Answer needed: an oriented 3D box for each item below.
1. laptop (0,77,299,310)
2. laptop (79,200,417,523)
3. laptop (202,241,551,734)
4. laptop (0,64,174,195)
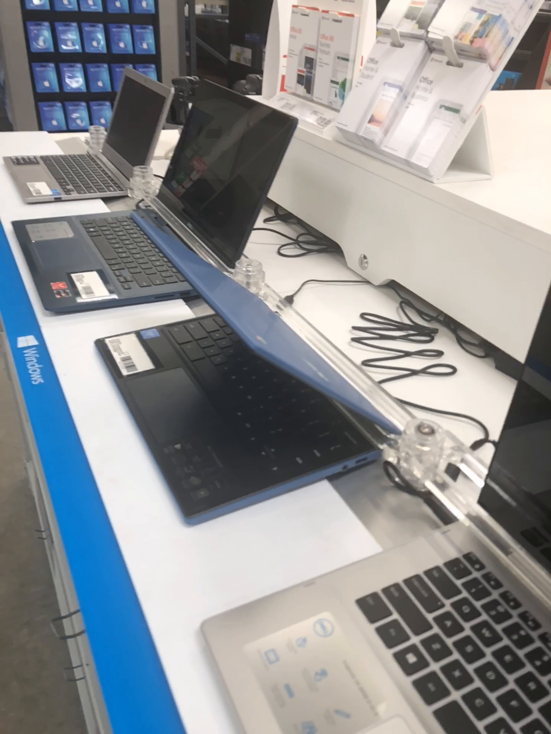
[{"bbox_3d":[-0.190,-0.266,0.833,0.319,0.196,0.326,-13,36,-24],"label":"laptop"},{"bbox_3d":[-0.046,-0.033,0.547,0.186,0.128,0.281,-14,37,-23],"label":"laptop"},{"bbox_3d":[0.125,0.118,0.245,0.221,0.211,0.297,-13,36,-21],"label":"laptop"},{"bbox_3d":[-0.374,-0.469,1.162,0.258,0.172,0.306,-11,35,-21],"label":"laptop"}]
